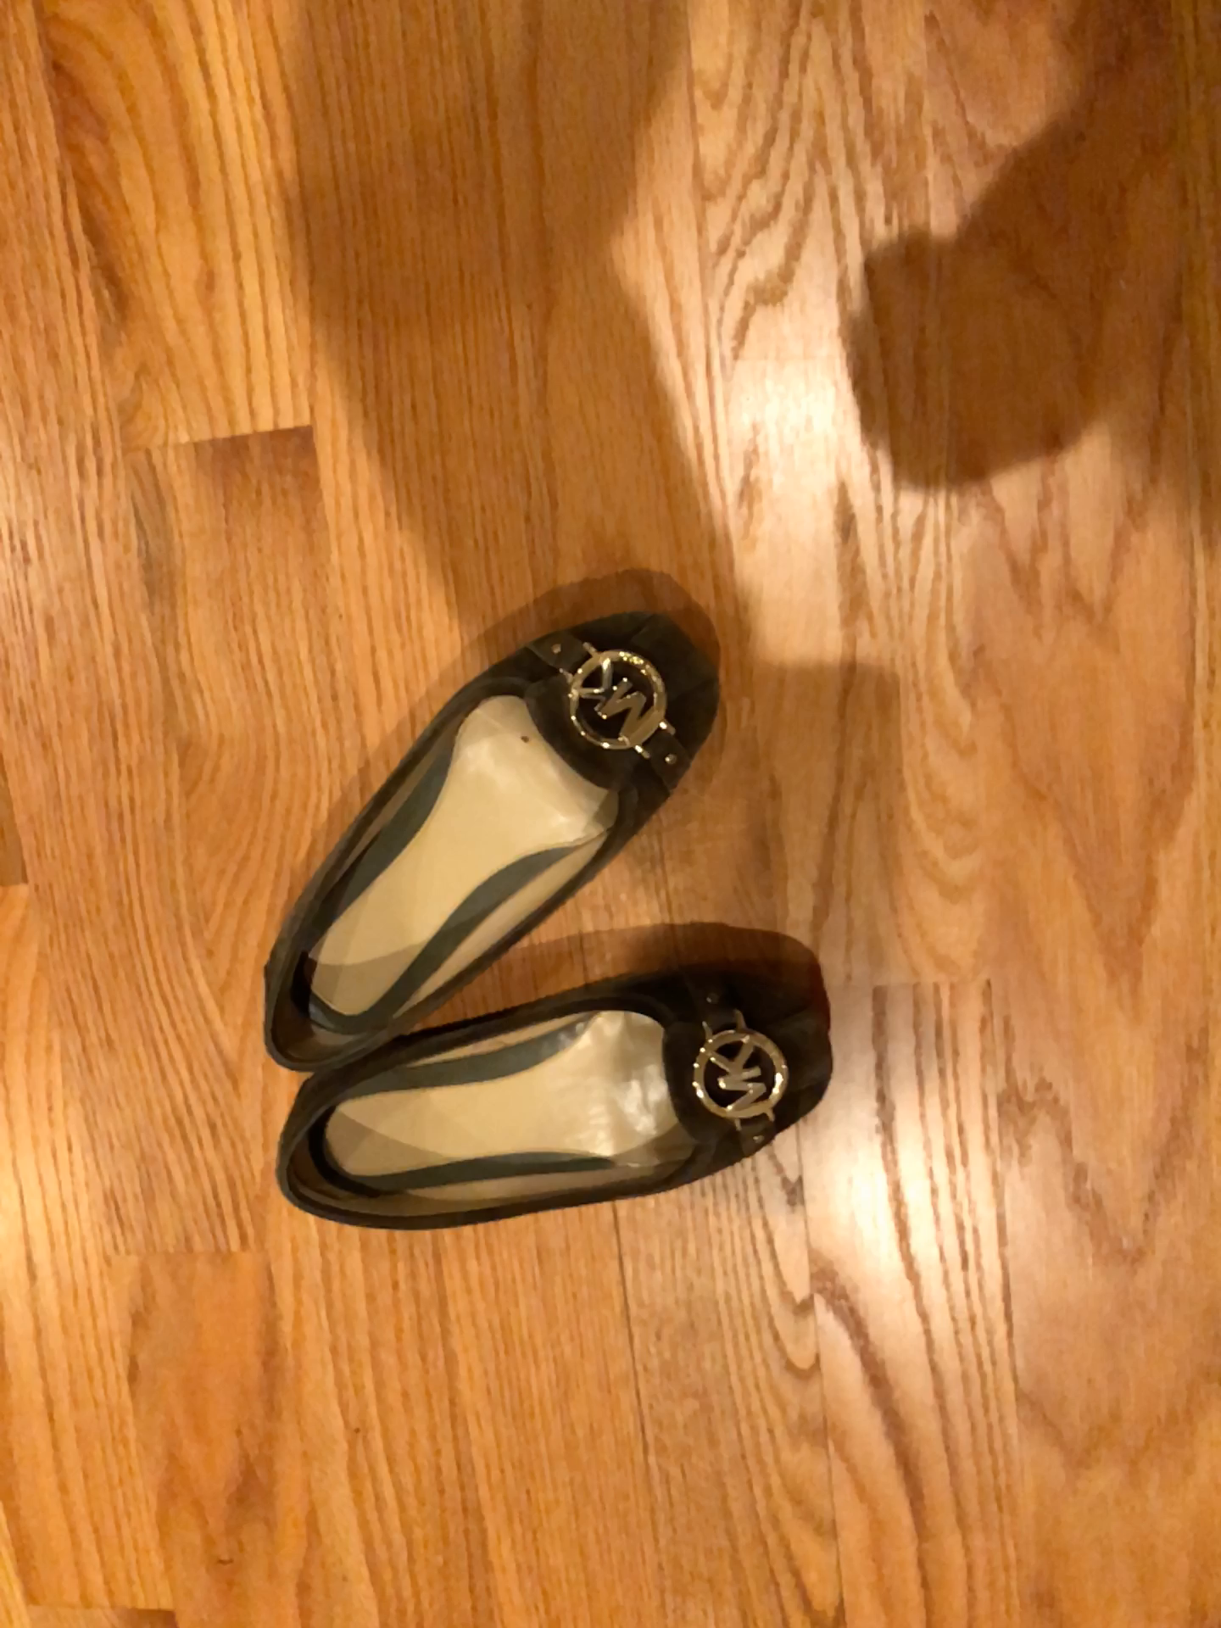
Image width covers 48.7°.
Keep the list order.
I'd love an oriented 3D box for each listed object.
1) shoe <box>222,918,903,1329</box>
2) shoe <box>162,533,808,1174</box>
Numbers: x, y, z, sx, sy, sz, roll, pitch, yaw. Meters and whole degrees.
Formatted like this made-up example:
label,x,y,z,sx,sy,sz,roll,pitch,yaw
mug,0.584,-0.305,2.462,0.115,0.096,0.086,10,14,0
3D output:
label,x,y,z,sx,sy,sz,roll,pitch,yaw
shoe,-0.016,0.122,0.534,0.240,0.079,0.091,-14,99,12
shoe,-0.046,0.014,0.513,0.091,0.079,0.242,45,105,-1
